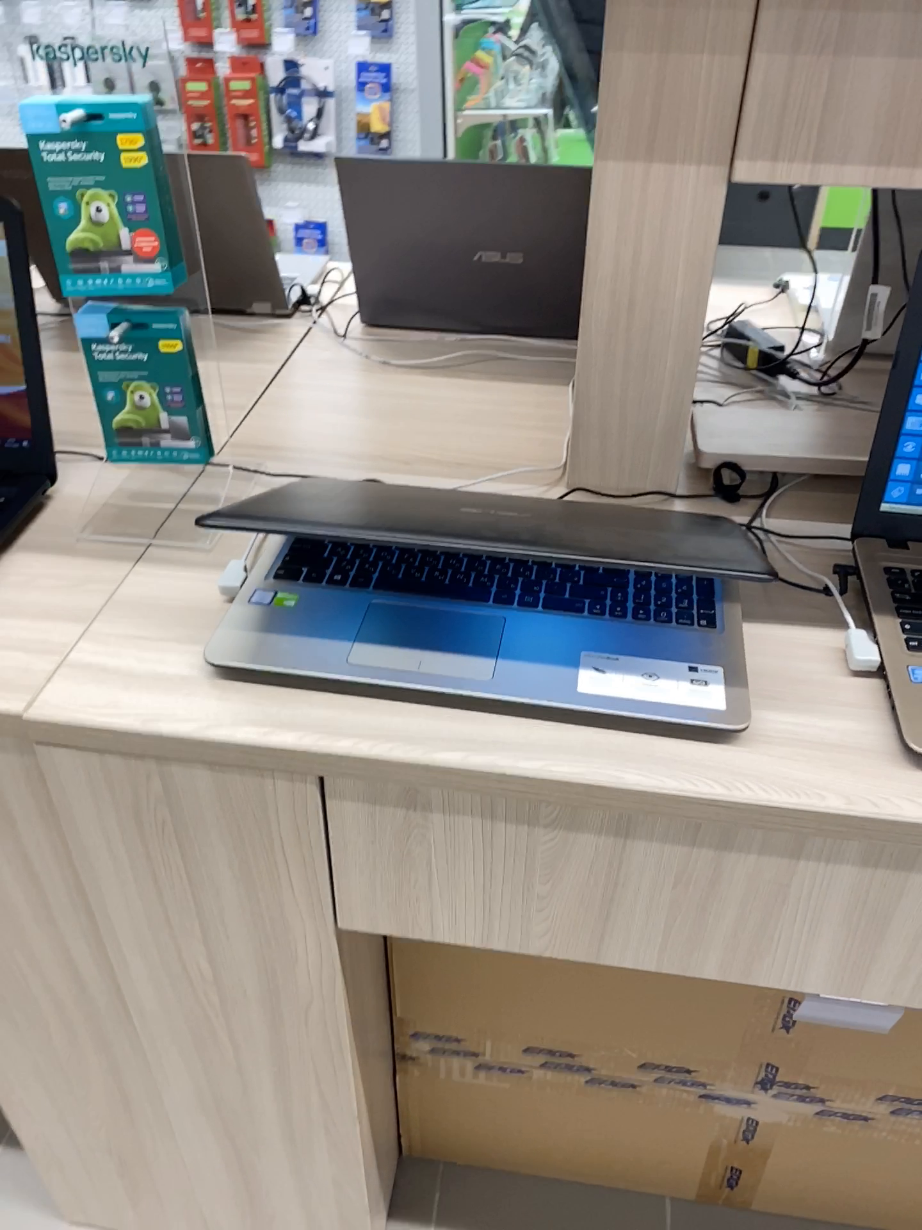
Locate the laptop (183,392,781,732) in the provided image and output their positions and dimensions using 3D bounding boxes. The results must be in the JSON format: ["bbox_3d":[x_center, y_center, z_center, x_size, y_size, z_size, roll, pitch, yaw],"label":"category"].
[{"bbox_3d":[0.026,-0.057,0.713,0.382,0.094,0.241,7,38,7],"label":"laptop"}]

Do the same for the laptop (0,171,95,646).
[{"bbox_3d":[-0.592,-0.186,0.750,0.420,0.235,0.319,5,37,7],"label":"laptop"}]
